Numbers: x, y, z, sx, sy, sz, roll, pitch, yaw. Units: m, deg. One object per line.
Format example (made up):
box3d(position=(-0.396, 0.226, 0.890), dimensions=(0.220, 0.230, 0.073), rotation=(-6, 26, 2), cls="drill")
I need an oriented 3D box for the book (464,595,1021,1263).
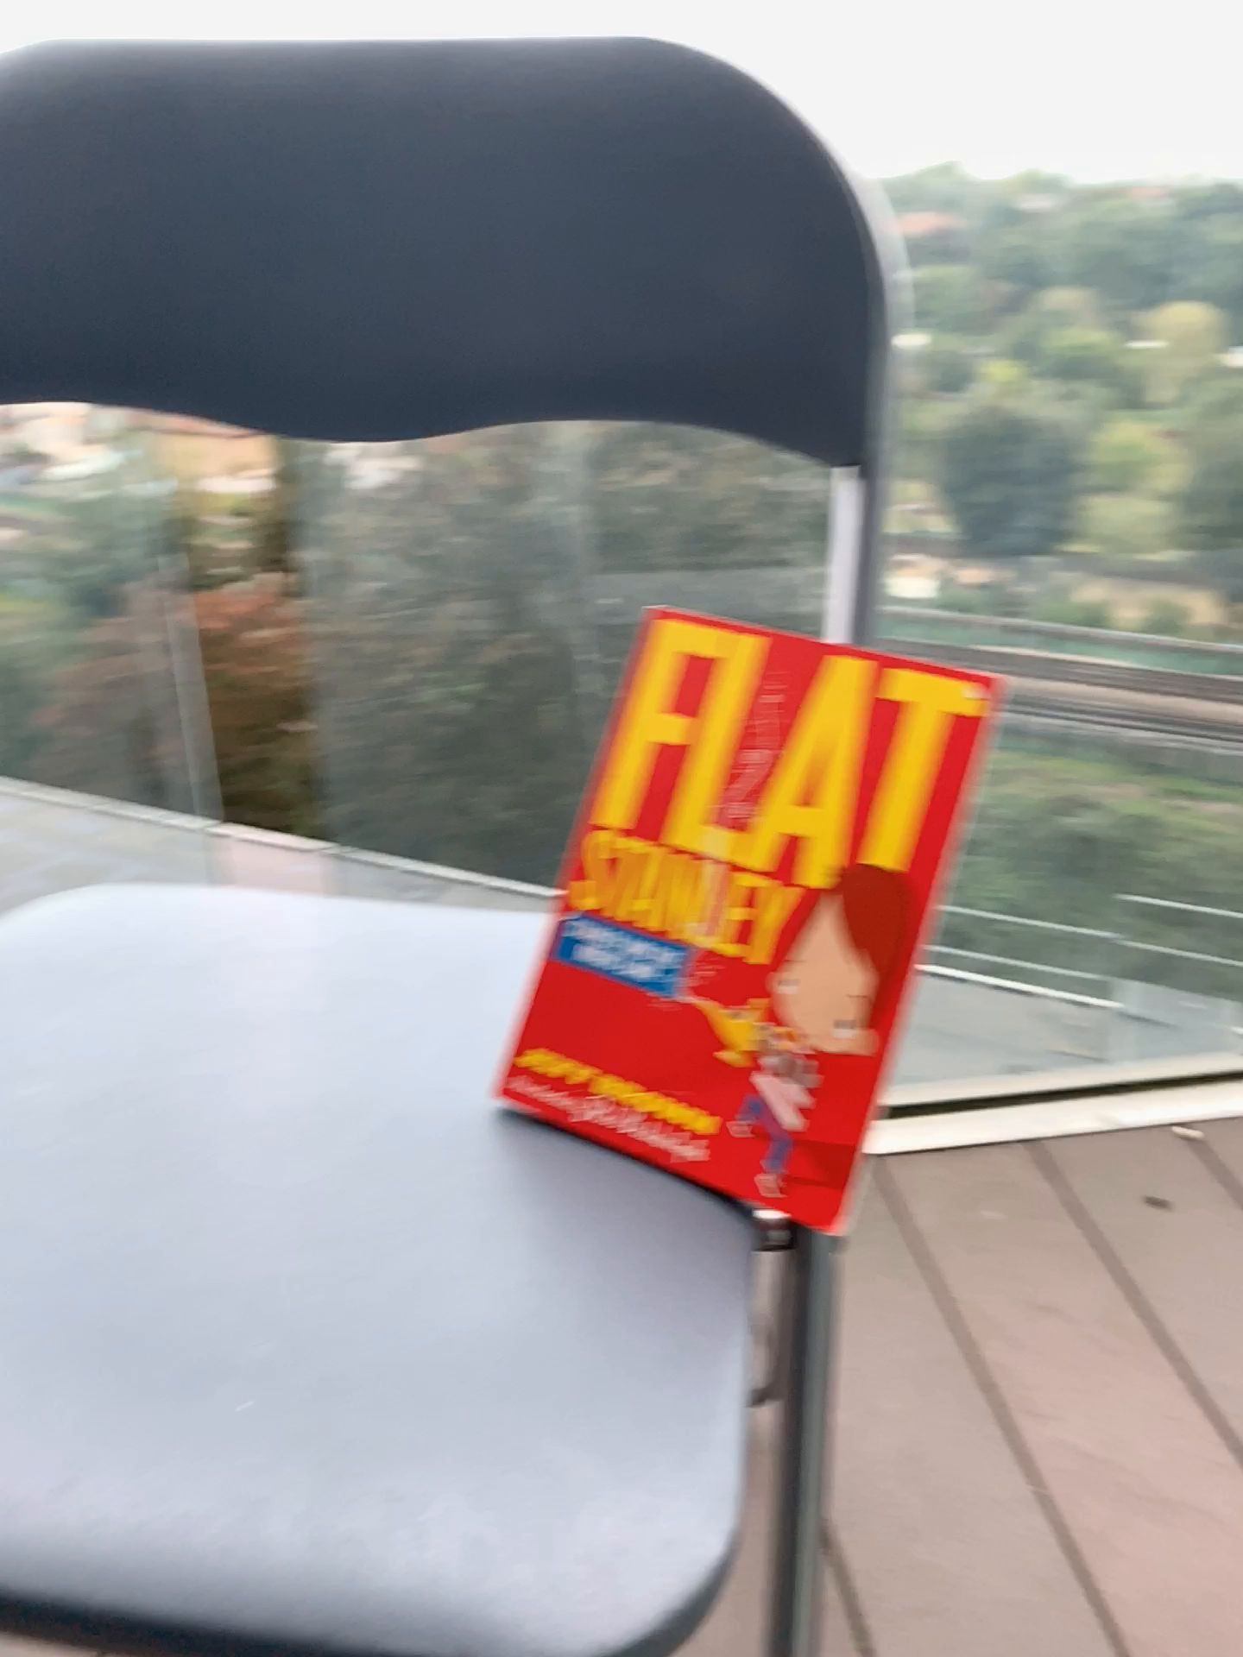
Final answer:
box3d(position=(0.037, 0.024, 0.431), dimensions=(0.140, 0.190, 0.020), rotation=(15, -5, 28), cls="book")
